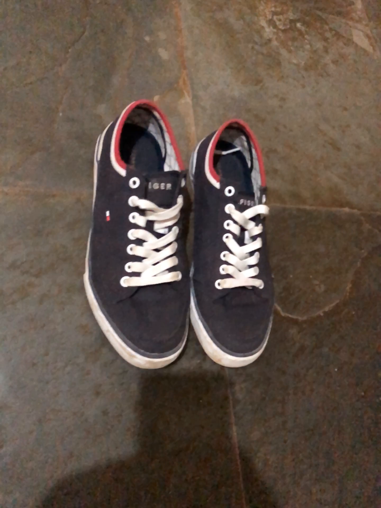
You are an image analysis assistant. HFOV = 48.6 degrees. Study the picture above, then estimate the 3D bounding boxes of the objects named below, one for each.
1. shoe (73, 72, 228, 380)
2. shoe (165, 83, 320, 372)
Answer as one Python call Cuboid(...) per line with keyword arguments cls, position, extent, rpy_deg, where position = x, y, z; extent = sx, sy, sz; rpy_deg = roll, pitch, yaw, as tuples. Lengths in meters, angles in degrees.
Cuboid(cls="shoe", position=(-0.054, -0.029, 0.441), extent=(0.110, 0.099, 0.291), rpy_deg=(1, 69, -23))
Cuboid(cls="shoe", position=(0.045, -0.028, 0.478), extent=(0.110, 0.099, 0.301), rpy_deg=(5, 68, -21))
